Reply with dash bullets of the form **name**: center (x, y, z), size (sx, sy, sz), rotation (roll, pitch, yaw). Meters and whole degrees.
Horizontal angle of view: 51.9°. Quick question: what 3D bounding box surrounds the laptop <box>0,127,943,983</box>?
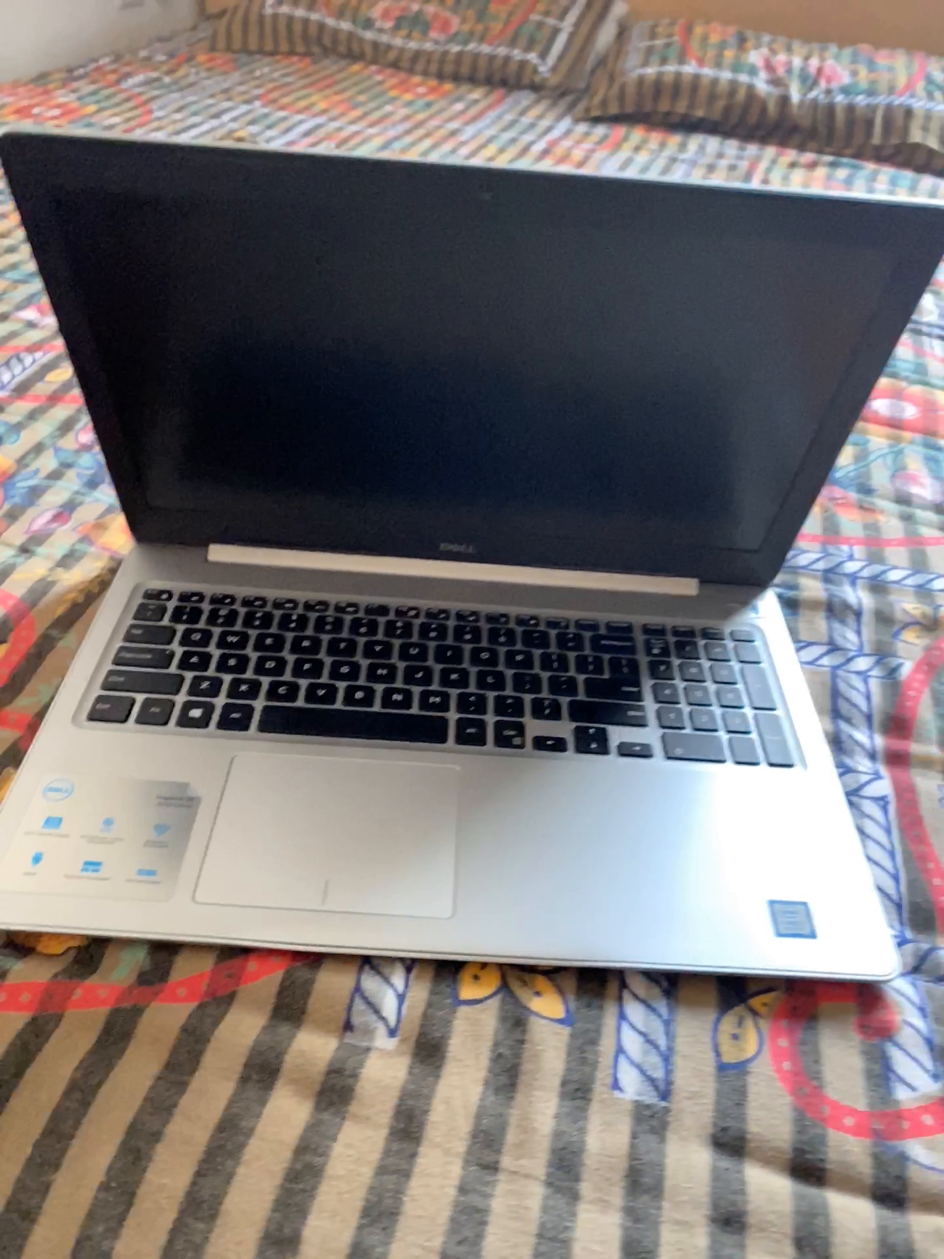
- **laptop**: center (-0.009, -0.031, 0.390), size (0.373, 0.231, 0.211), rotation (4, 41, -1)
